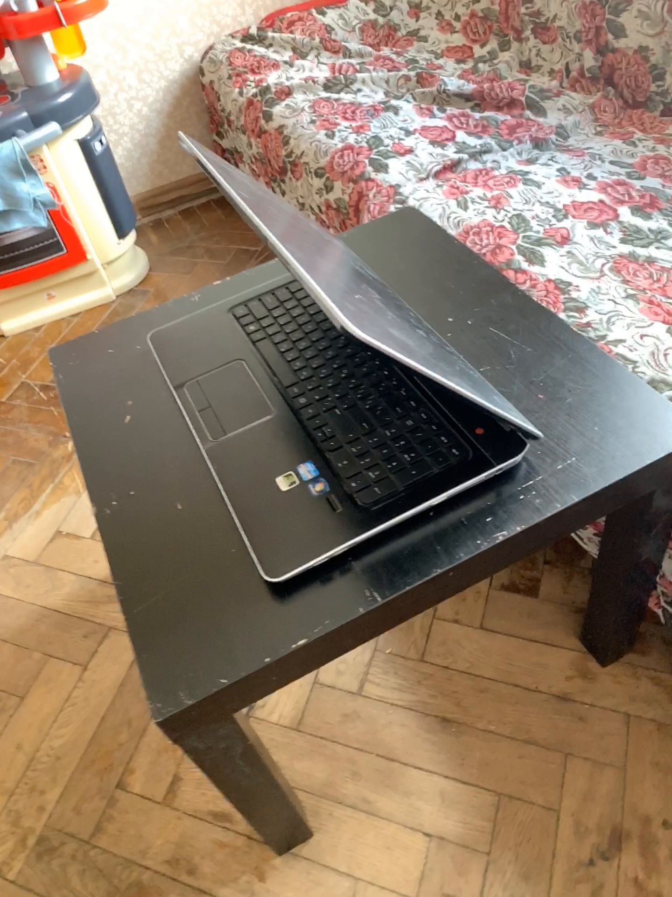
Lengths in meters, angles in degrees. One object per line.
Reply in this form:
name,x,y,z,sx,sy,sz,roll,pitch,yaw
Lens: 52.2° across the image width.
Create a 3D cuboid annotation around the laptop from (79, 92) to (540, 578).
laptop,-0.045,-0.139,0.660,0.256,0.201,0.407,-25,48,-11
